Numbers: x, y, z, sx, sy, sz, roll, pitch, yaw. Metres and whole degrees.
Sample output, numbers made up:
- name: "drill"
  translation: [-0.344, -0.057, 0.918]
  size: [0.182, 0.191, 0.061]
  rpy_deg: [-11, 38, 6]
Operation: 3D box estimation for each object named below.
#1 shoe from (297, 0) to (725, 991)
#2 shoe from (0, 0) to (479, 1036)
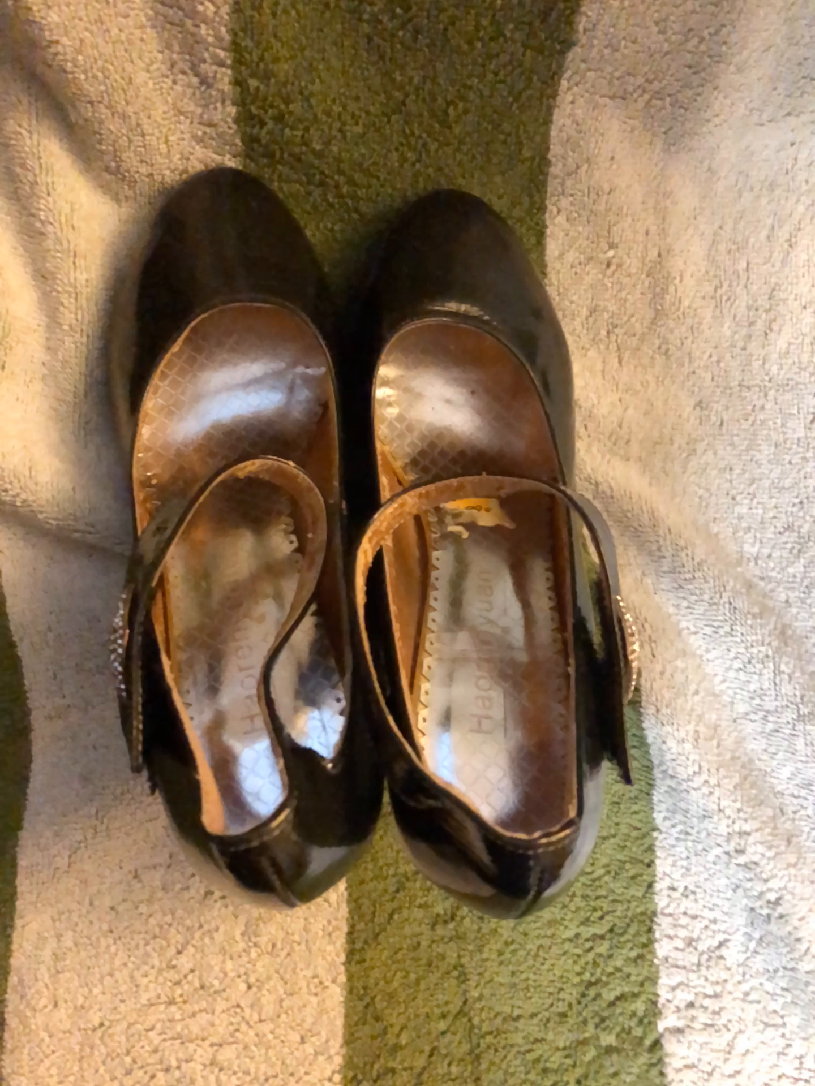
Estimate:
- name: "shoe"
  translation: [0.020, -0.021, 0.257]
  size: [0.090, 0.120, 0.240]
  rpy_deg: [2, 84, -6]
- name: "shoe"
  translation: [-0.051, -0.020, 0.255]
  size: [0.090, 0.120, 0.240]
  rpy_deg: [-7, 85, -6]
